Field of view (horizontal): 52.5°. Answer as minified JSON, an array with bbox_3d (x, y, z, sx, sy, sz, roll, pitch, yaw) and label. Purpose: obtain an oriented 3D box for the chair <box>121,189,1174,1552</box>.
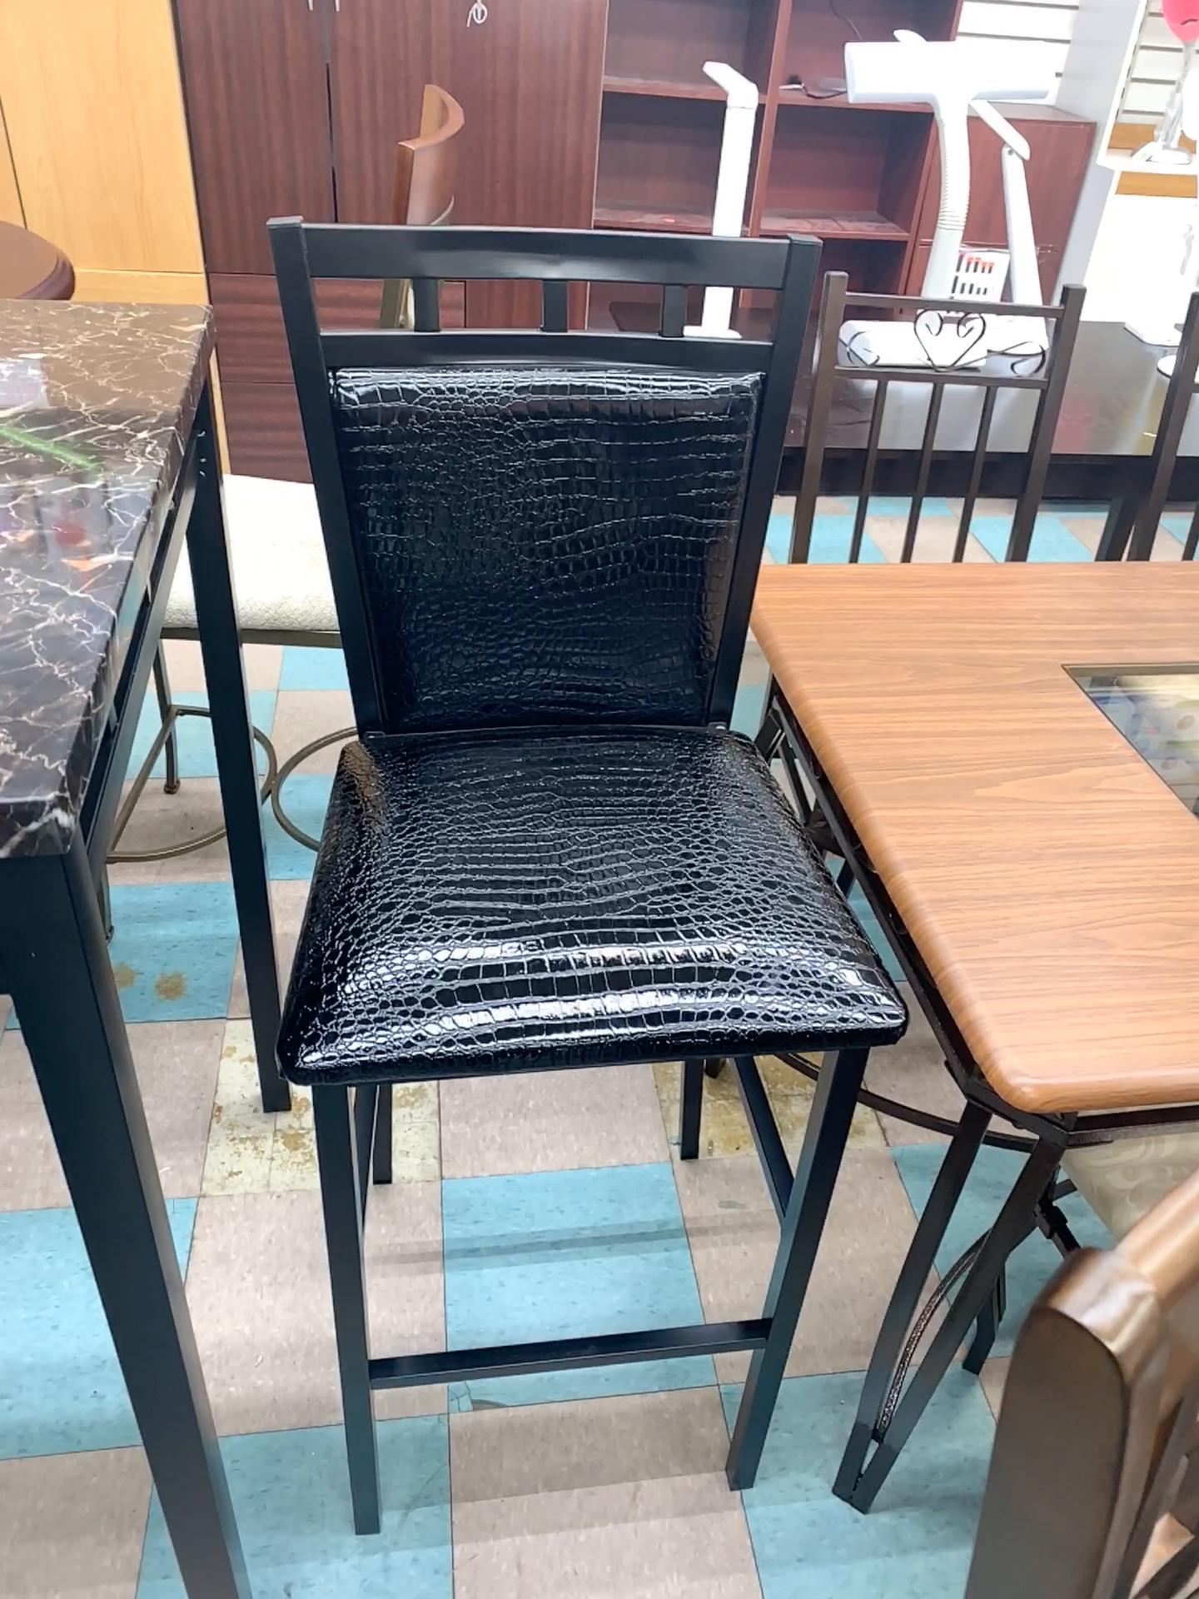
[{"bbox_3d":[-0.022,0.126,0.974,0.444,1.025,0.419,-1,37,-7],"label":"chair"}]
